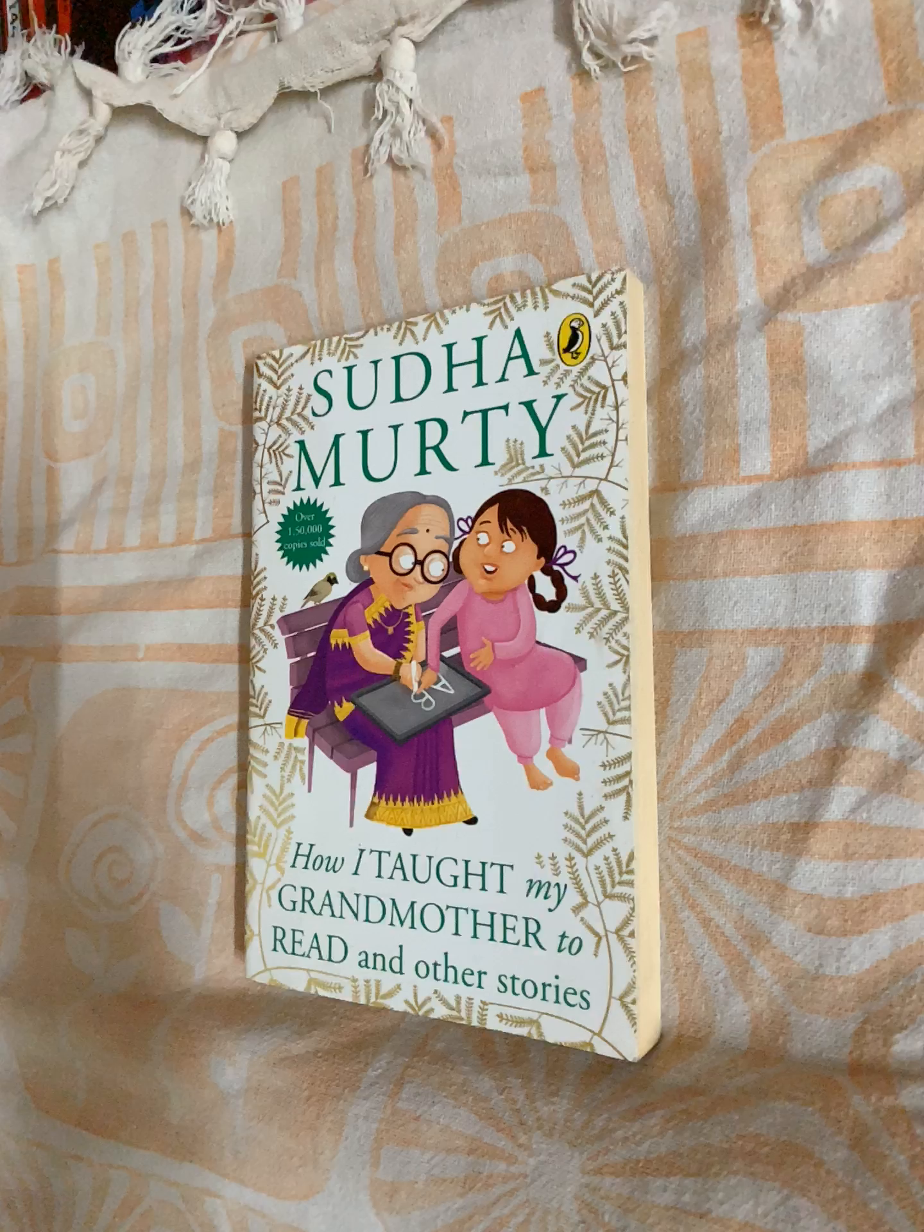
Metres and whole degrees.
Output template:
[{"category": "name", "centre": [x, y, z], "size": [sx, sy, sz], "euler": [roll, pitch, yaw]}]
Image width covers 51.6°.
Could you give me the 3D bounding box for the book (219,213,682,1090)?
[{"category": "book", "centre": [-0.008, 0.007, 0.261], "size": [0.130, 0.020, 0.200], "euler": [-4, 81, 32]}]
